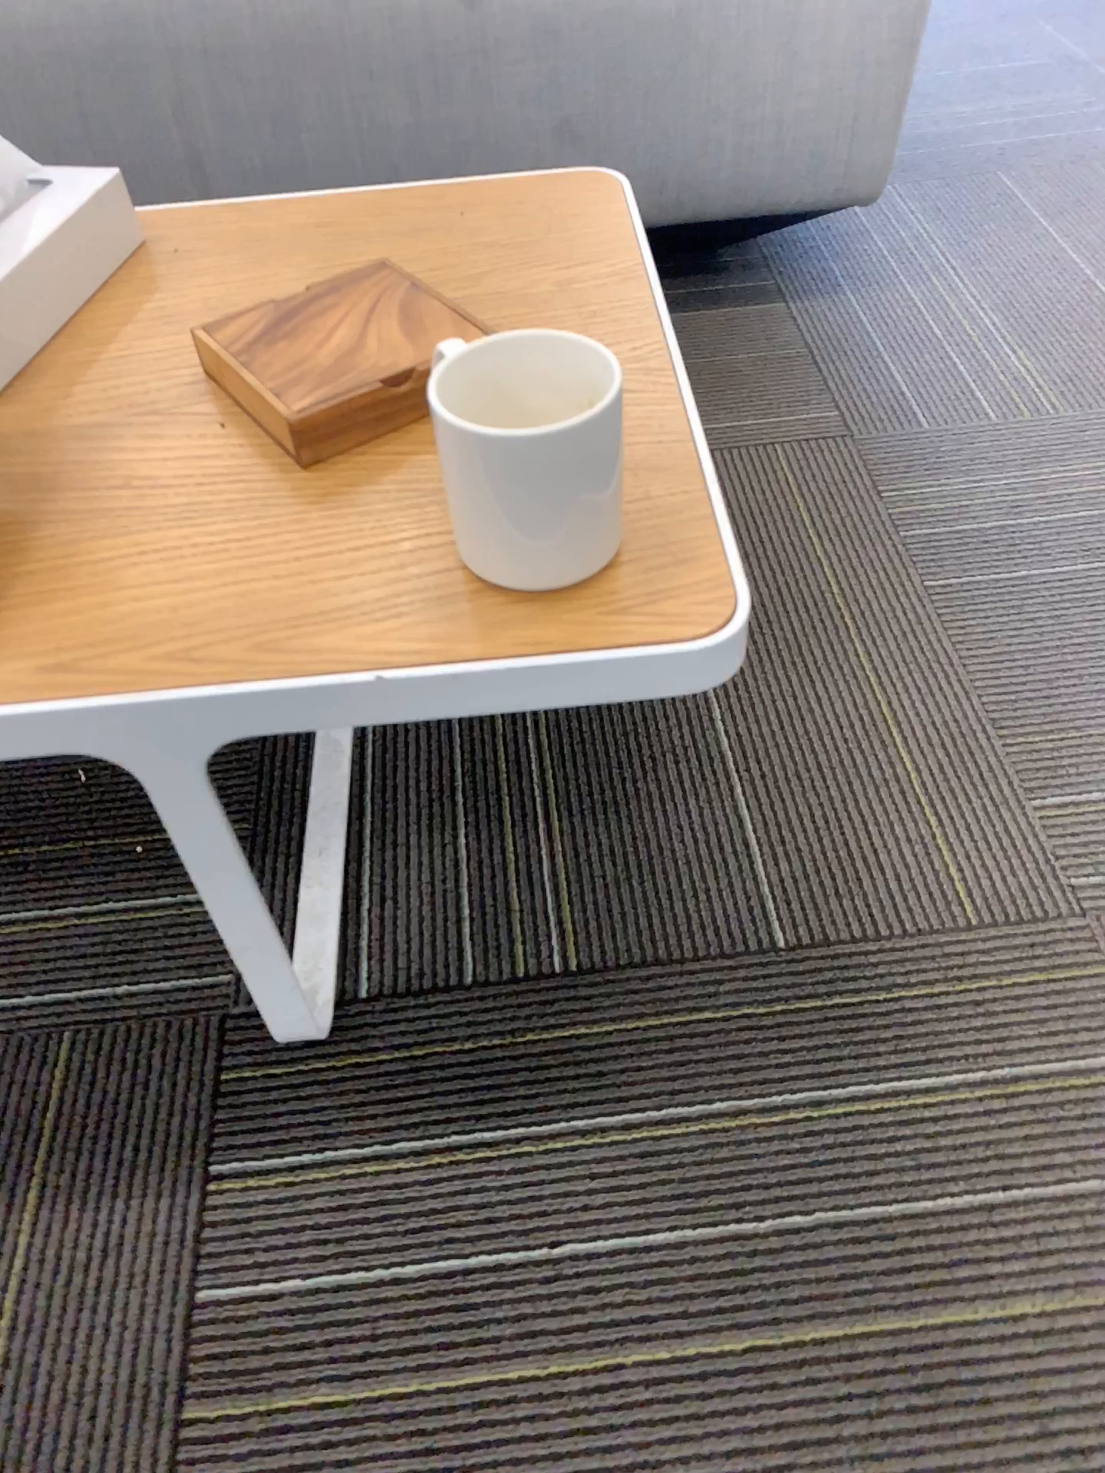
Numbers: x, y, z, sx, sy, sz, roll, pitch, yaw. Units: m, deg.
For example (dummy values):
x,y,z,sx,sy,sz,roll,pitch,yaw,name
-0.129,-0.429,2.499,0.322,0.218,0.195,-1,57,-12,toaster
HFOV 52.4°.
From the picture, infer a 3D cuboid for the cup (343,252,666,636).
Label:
x,y,z,sx,sy,sz,roll,pitch,yaw,name
-0.022,-0.135,0.504,0.090,0.090,0.141,-20,49,-13,cup
